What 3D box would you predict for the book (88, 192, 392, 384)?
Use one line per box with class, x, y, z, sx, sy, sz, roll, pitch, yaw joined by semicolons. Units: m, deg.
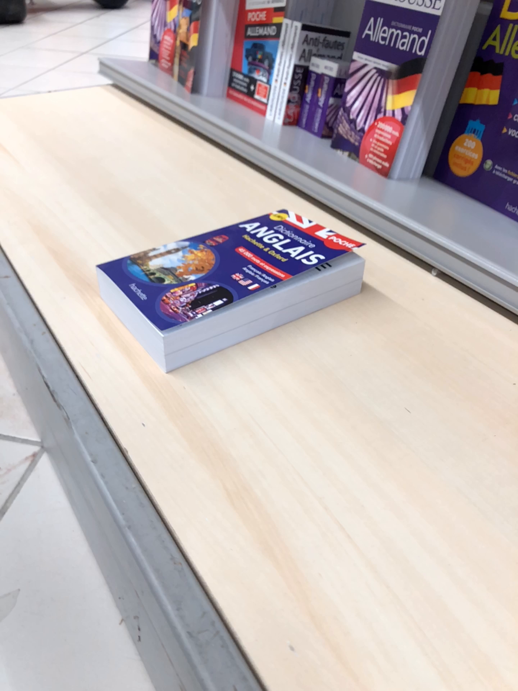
book;-0.013;-0.055;0.431;0.188;0.040;0.119;-23;45;-28
